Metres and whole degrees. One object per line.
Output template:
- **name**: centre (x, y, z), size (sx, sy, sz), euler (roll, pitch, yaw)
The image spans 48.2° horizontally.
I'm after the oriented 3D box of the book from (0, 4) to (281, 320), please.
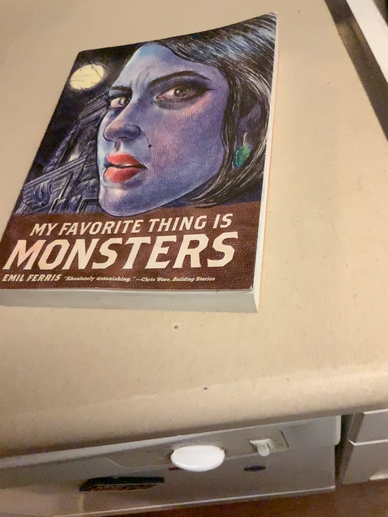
- **book**: centre (-0.039, -0.087, 0.346), size (0.200, 0.040, 0.270), euler (-1, 59, 17)
